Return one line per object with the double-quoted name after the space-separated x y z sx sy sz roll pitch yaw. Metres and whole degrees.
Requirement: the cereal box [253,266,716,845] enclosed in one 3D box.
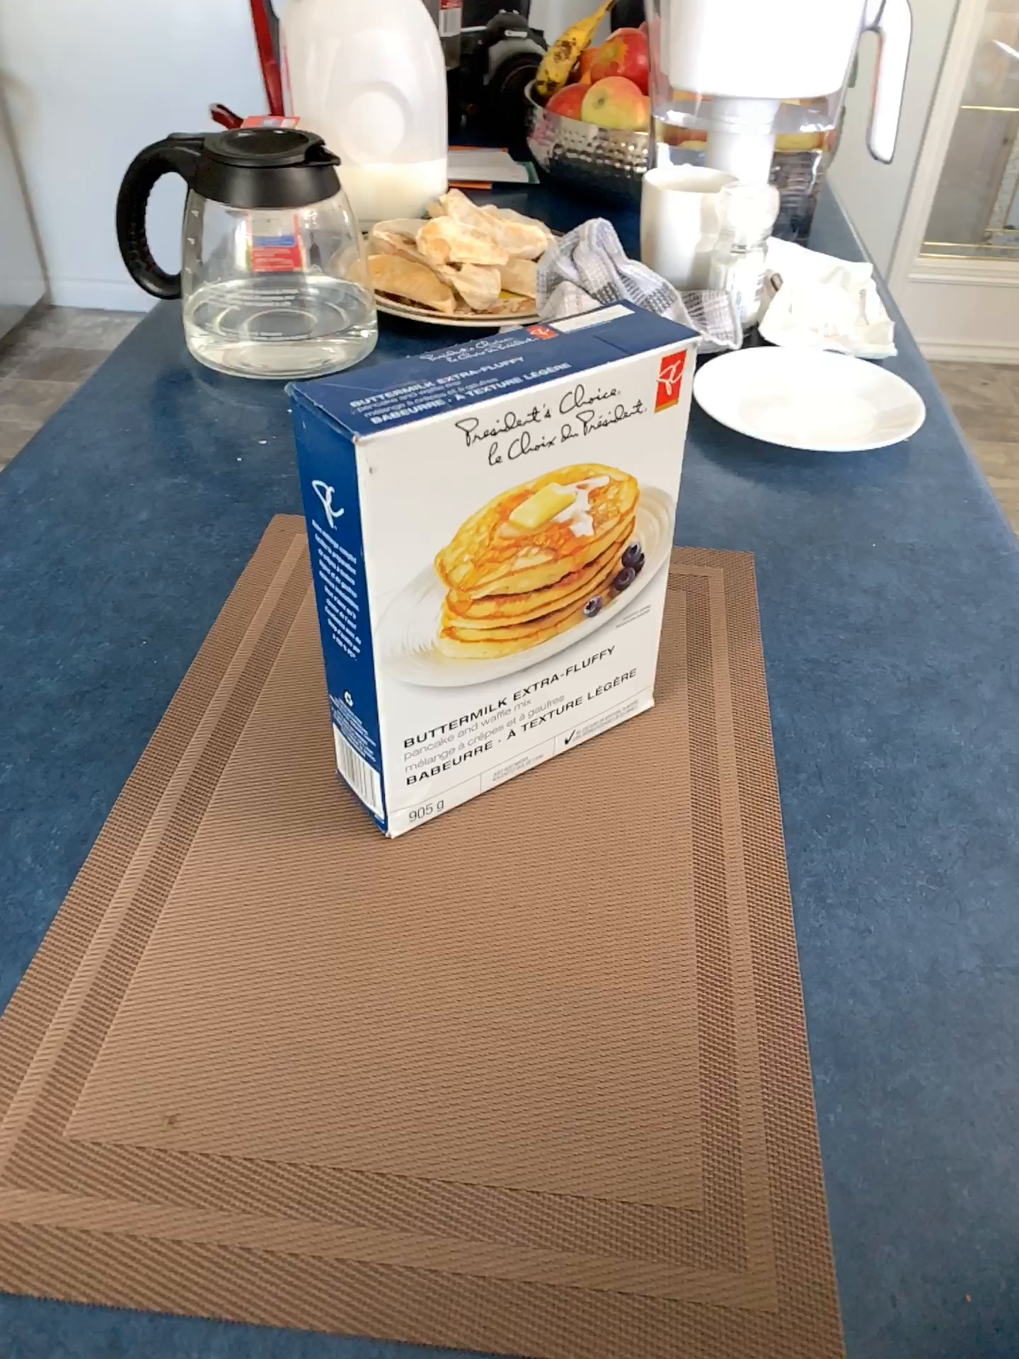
-0.007 -0.050 0.449 0.171 0.208 0.050 -23 46 -27 "cereal box"
